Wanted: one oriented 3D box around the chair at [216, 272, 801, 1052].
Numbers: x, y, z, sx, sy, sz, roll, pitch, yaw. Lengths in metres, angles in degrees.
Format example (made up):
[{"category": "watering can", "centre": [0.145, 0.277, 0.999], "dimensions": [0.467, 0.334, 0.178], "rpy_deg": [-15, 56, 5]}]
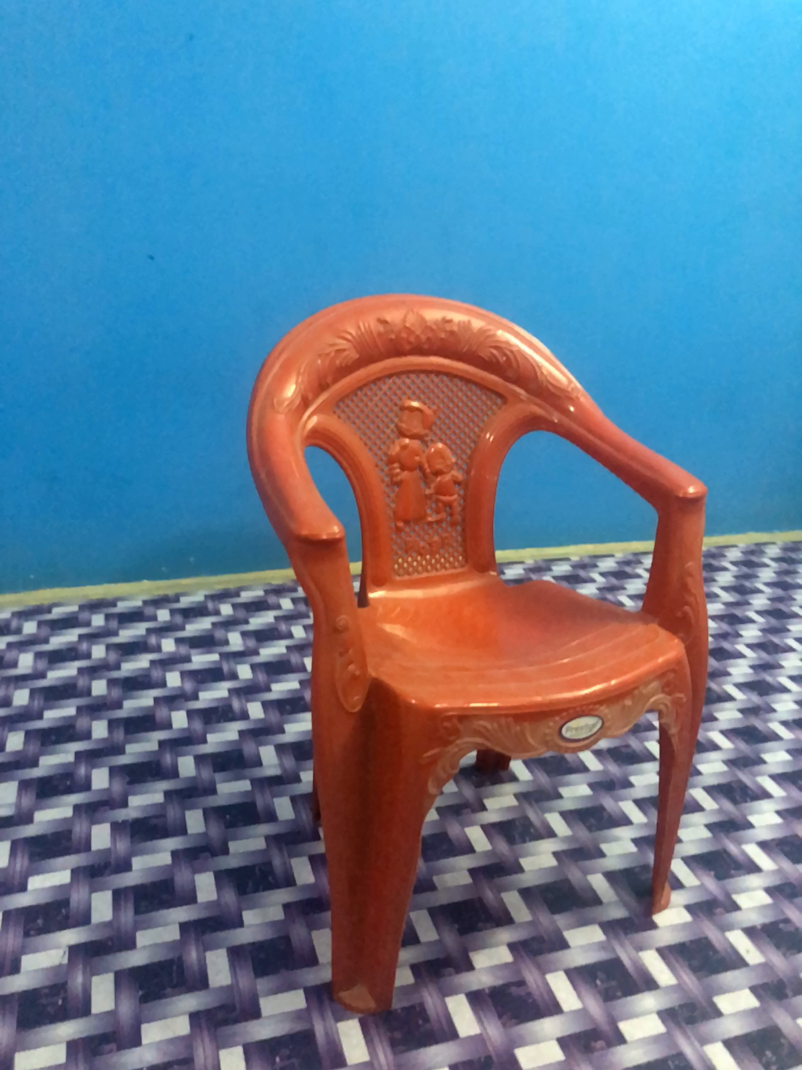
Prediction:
[{"category": "chair", "centre": [0.072, 0.063, 0.844], "dimensions": [0.411, 0.557, 0.381], "rpy_deg": [-5, 22, -23]}]
